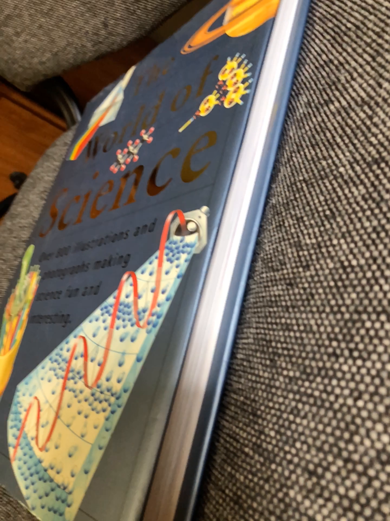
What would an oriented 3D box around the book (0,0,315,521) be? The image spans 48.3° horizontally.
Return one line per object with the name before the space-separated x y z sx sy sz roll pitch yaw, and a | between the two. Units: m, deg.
book | -0.051 -0.017 0.256 0.221 0.030 0.276 -11 58 48
